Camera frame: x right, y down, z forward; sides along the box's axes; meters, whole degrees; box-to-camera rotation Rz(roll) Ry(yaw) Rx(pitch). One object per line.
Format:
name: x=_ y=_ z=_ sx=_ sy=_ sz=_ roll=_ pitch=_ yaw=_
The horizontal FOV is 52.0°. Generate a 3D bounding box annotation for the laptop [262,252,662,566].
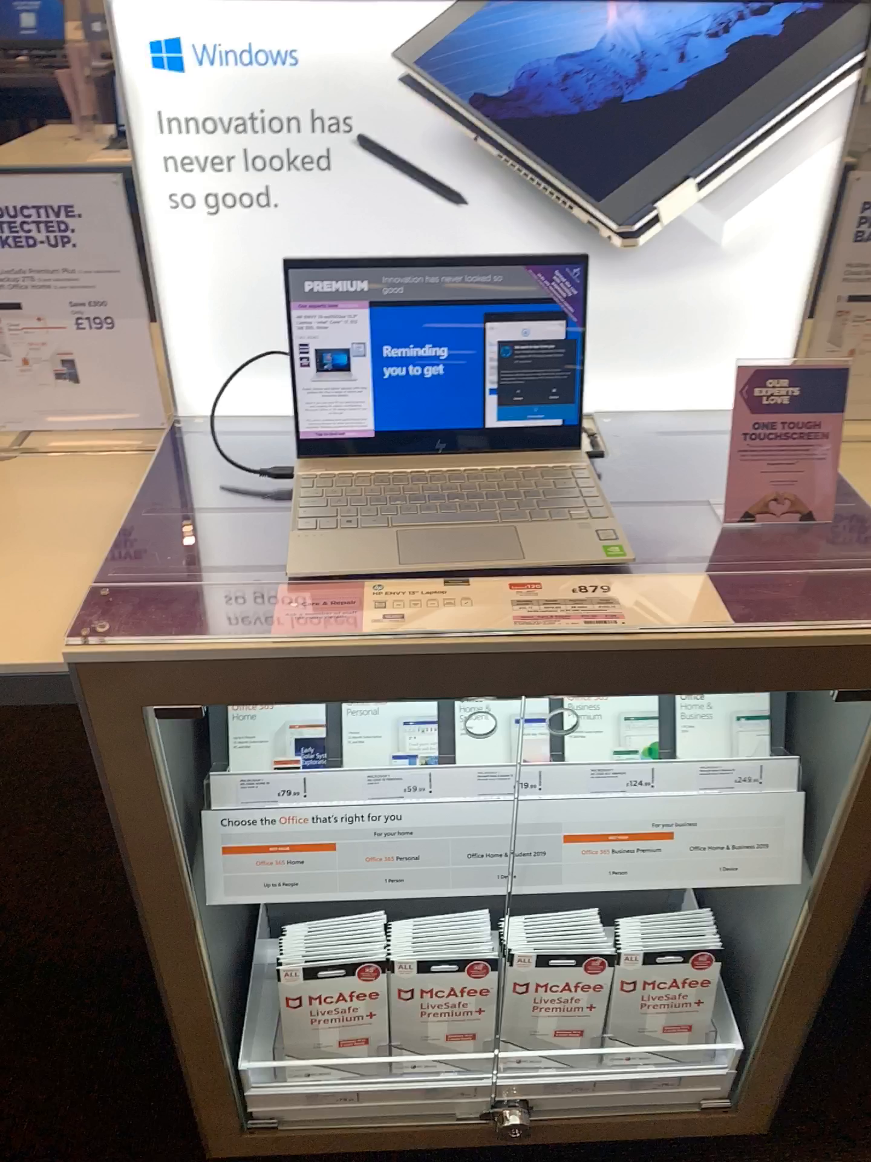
laptop: x=0.008 y=-0.168 z=0.811 sx=0.295 sy=0.181 sz=0.262 roll=-2 pitch=35 yaw=-5
